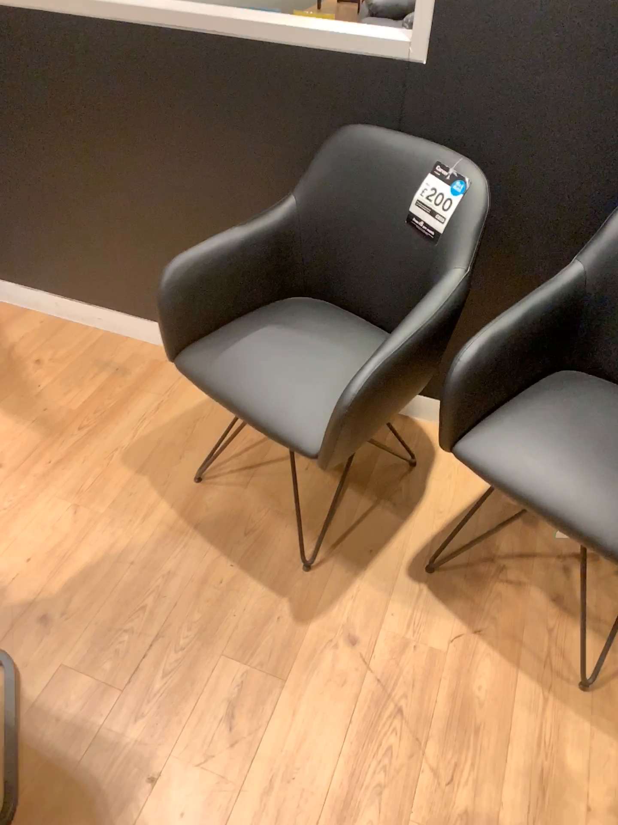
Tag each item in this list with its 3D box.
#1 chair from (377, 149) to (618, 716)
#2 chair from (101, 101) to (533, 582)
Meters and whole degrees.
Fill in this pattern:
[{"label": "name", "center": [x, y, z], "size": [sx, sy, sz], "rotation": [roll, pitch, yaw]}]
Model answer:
[{"label": "chair", "center": [0.584, 0.033, 1.299], "size": [0.565, 0.836, 0.595], "rotation": [30, 49, 27]}, {"label": "chair", "center": [0.010, -0.187, 1.482], "size": [0.606, 0.776, 0.594], "rotation": [33, 51, 29]}]
